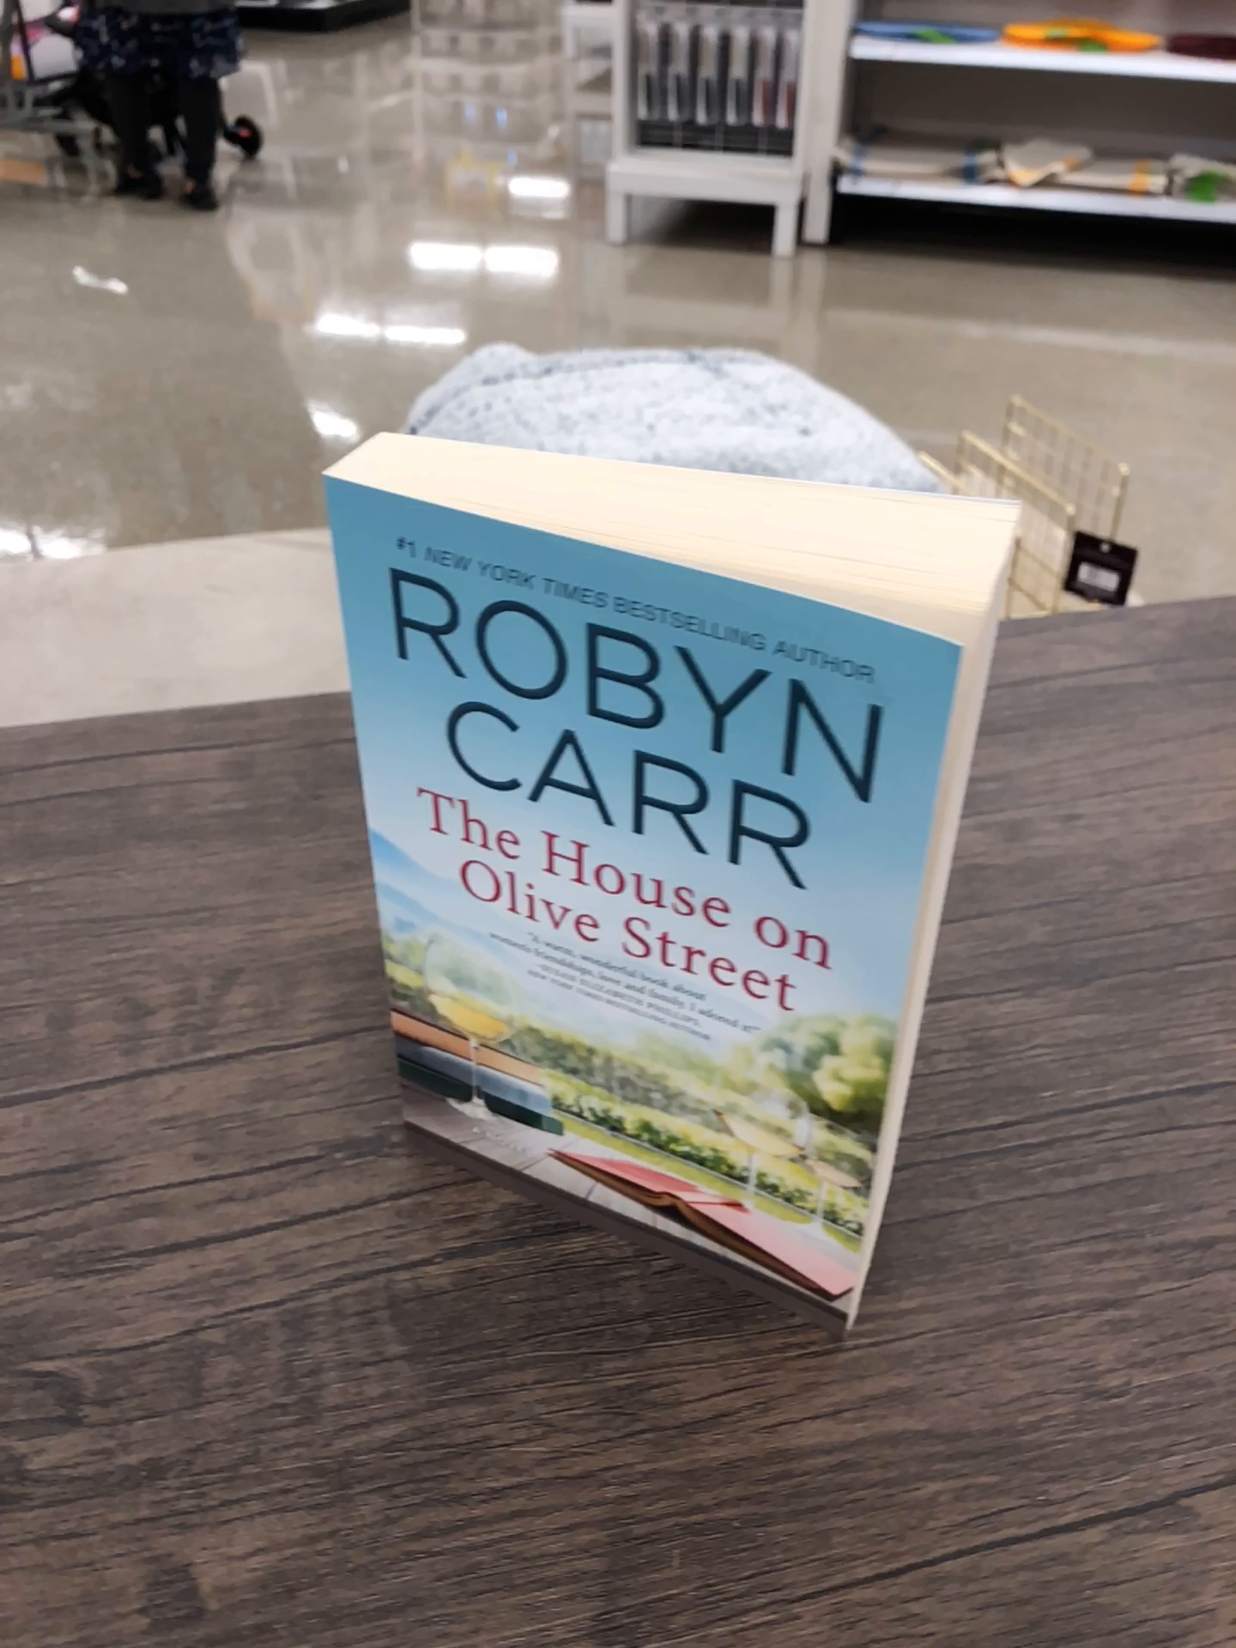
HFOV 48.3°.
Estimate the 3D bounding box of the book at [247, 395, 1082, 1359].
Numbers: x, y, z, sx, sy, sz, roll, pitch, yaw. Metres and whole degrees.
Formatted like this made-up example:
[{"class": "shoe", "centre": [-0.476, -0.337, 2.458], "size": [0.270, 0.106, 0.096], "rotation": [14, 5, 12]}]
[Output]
[{"class": "book", "centre": [0.007, 0.018, 0.313], "size": [0.146, 0.195, 0.050], "rotation": [15, 39, 19]}]
